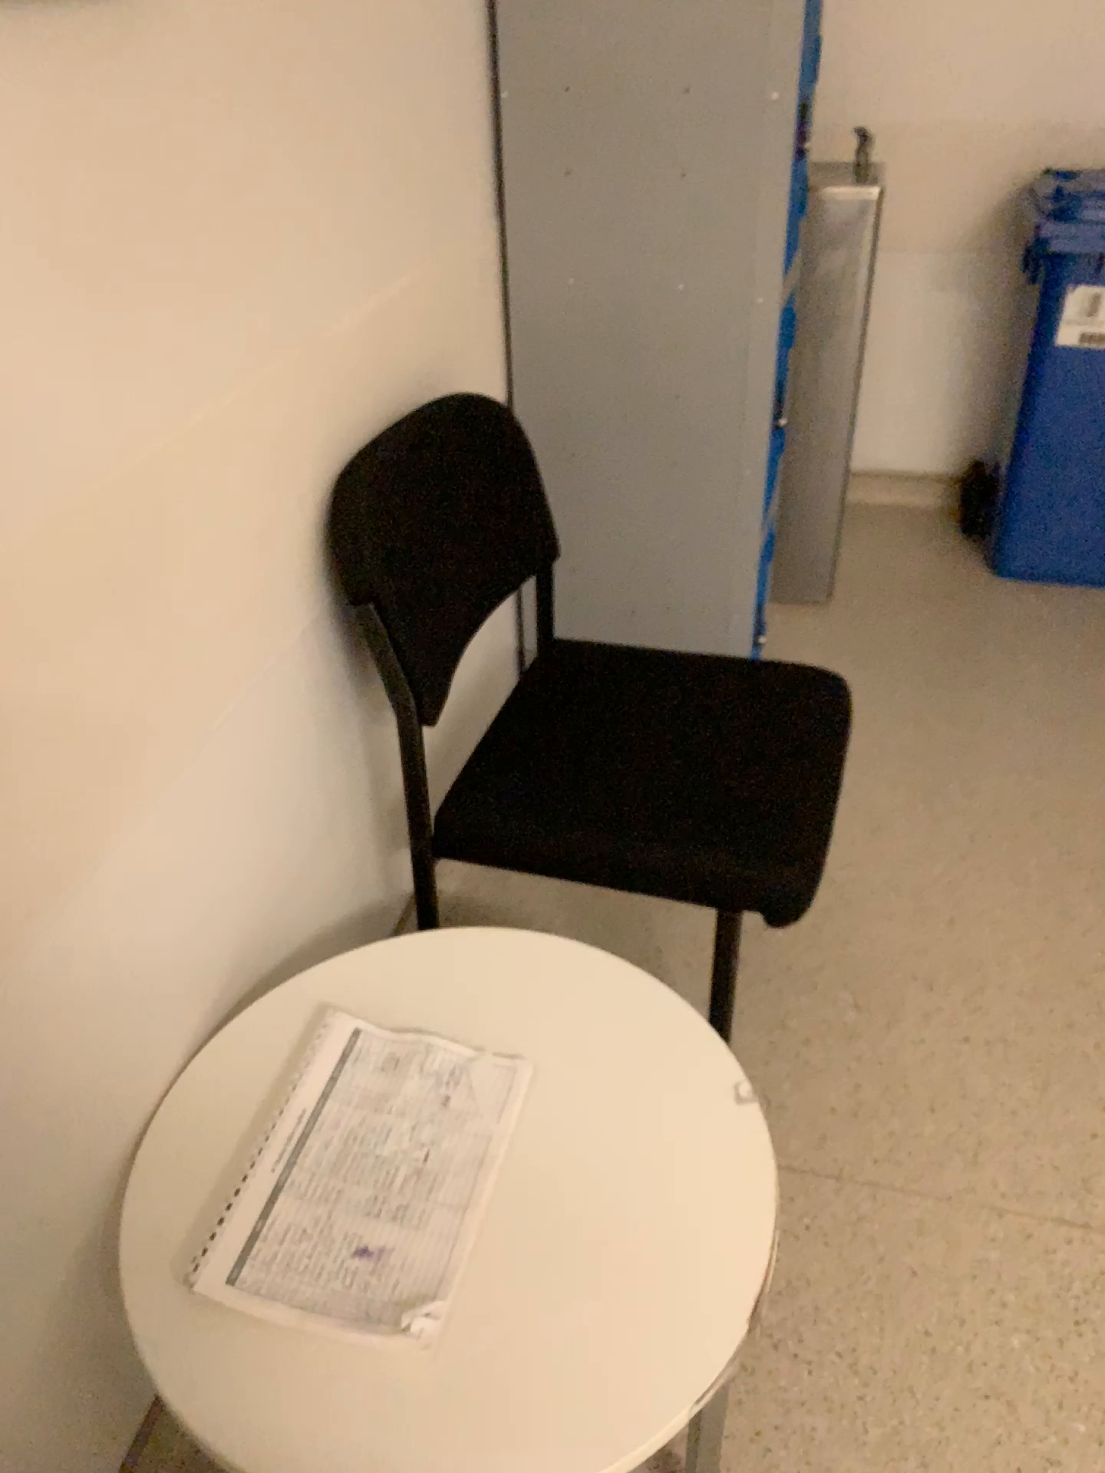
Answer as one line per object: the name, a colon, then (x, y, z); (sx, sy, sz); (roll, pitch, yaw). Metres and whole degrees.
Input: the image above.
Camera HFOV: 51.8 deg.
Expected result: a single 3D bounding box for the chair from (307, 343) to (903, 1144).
chair: (0.106, -0.015, 1.526); (0.550, 0.824, 0.554); (9, 35, 16)
